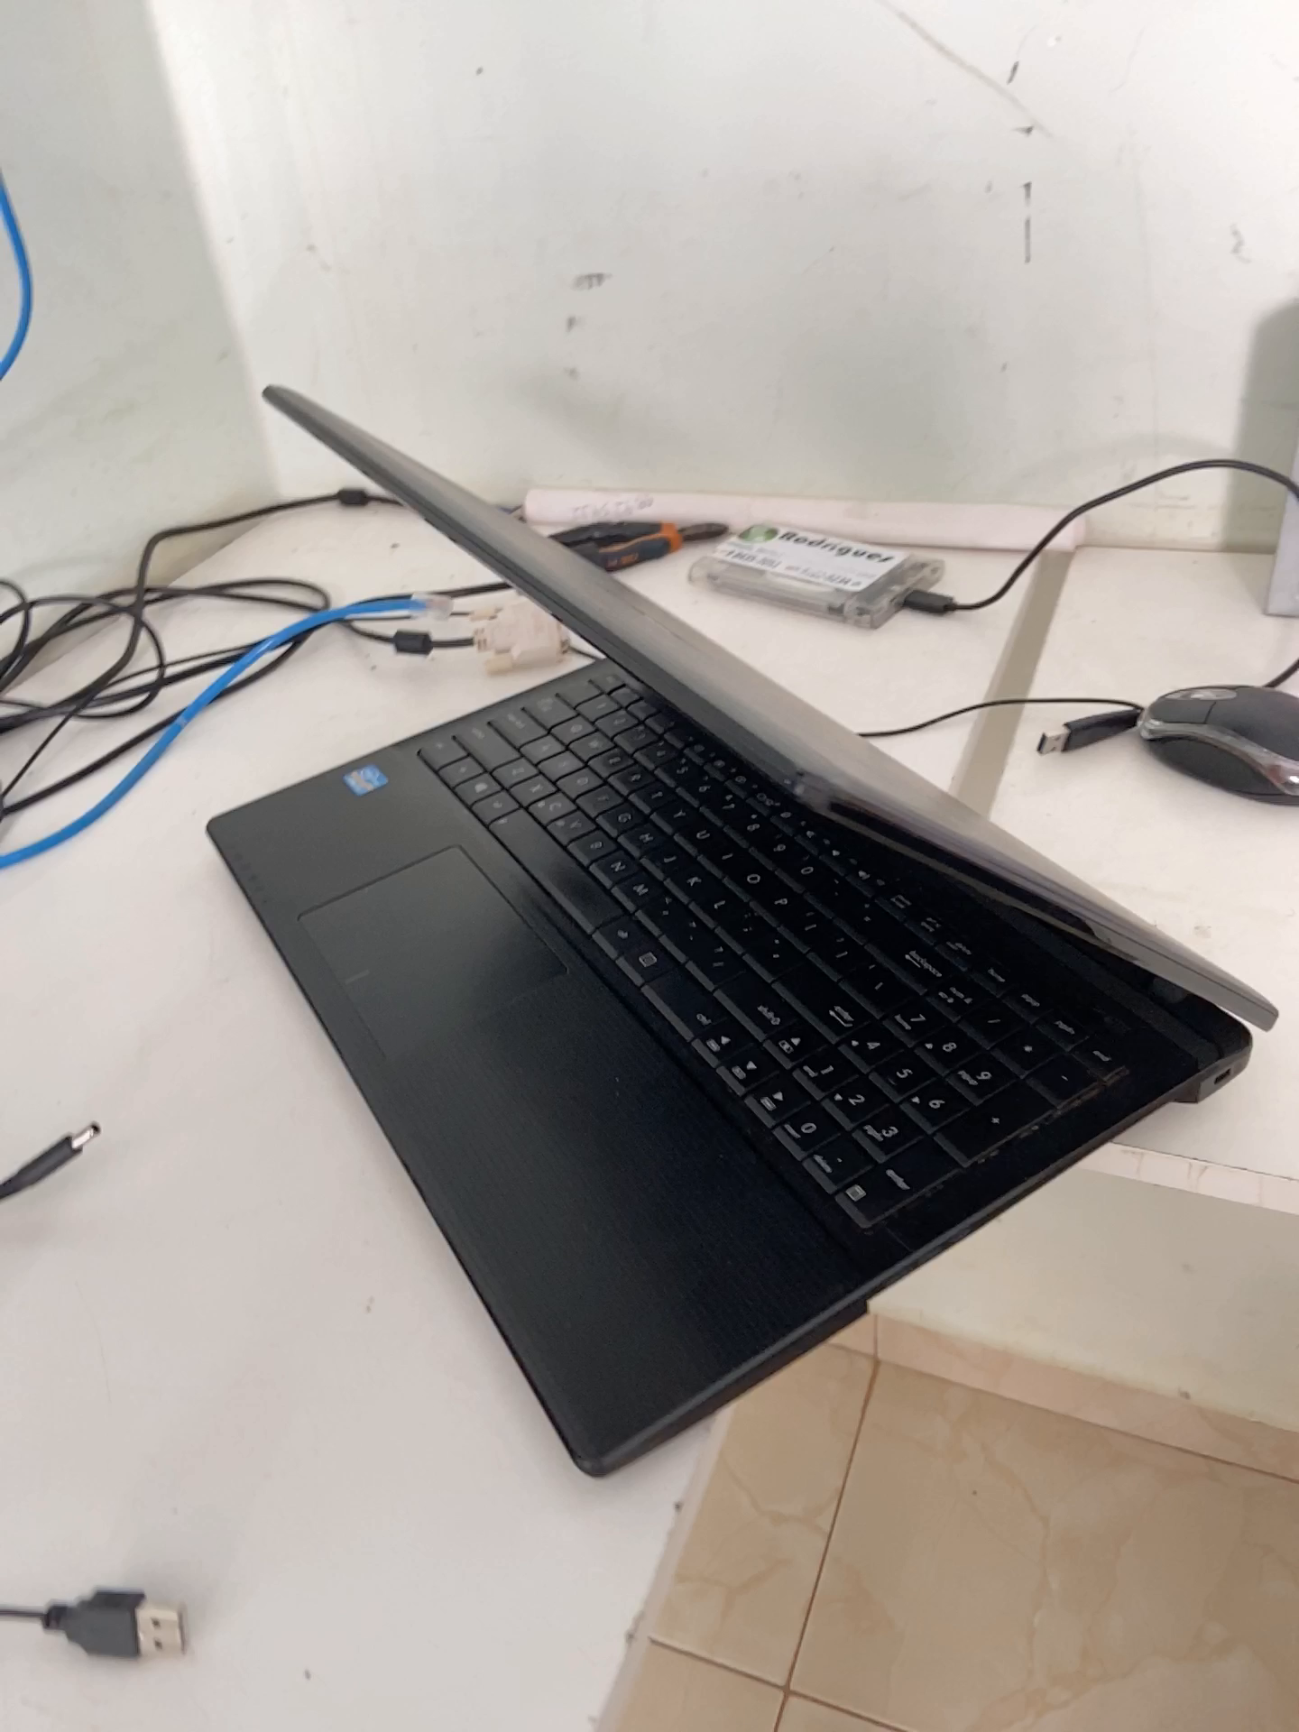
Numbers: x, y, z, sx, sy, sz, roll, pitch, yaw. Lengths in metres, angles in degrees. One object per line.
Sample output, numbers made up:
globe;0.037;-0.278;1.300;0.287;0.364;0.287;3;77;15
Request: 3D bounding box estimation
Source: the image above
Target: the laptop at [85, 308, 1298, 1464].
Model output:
laptop;-0.016;-0.048;0.480;0.247;0.166;0.377;-25;39;-19
